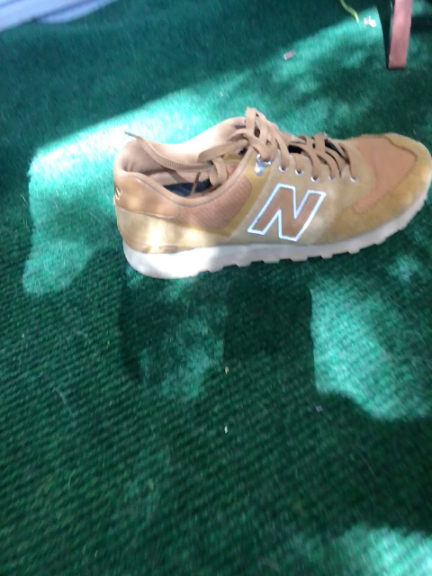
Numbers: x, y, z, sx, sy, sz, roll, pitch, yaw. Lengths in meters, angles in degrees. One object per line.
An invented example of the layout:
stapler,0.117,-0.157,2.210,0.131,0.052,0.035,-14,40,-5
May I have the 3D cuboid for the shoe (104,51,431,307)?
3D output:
shoe,0.054,-0.090,0.384,0.260,0.099,0.111,-15,49,-2
